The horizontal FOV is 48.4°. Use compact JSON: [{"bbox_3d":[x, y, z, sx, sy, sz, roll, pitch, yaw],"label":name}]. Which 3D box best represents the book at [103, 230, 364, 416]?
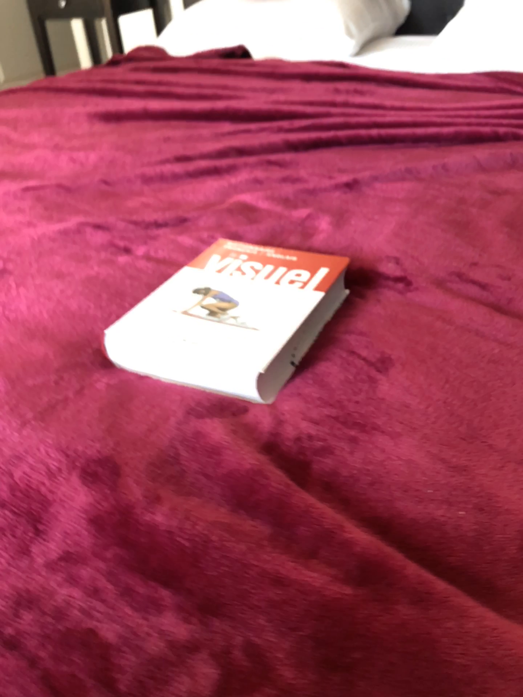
[{"bbox_3d":[-0.013,-0.034,0.479,0.140,0.039,0.181,14,39,24],"label":"book"}]
